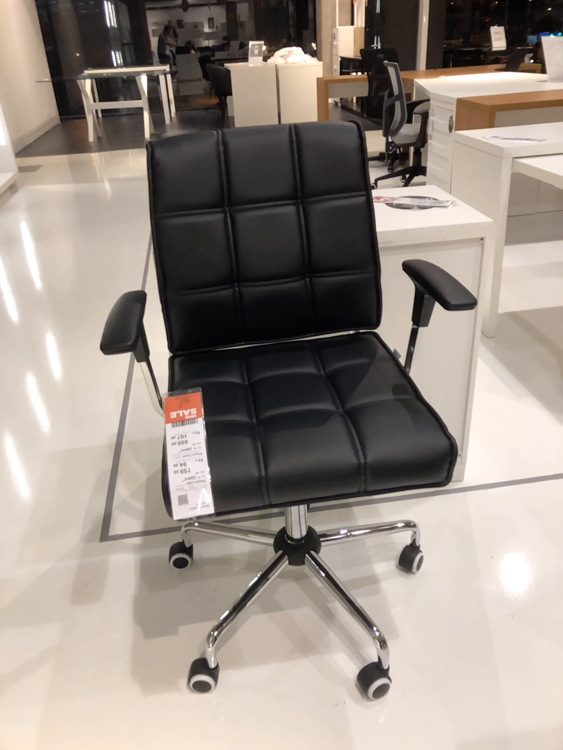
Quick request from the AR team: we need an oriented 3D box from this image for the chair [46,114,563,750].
[{"bbox_3d":[0.015,0.039,1.217,0.620,0.913,0.745,-8,29,-8],"label":"chair"}]
